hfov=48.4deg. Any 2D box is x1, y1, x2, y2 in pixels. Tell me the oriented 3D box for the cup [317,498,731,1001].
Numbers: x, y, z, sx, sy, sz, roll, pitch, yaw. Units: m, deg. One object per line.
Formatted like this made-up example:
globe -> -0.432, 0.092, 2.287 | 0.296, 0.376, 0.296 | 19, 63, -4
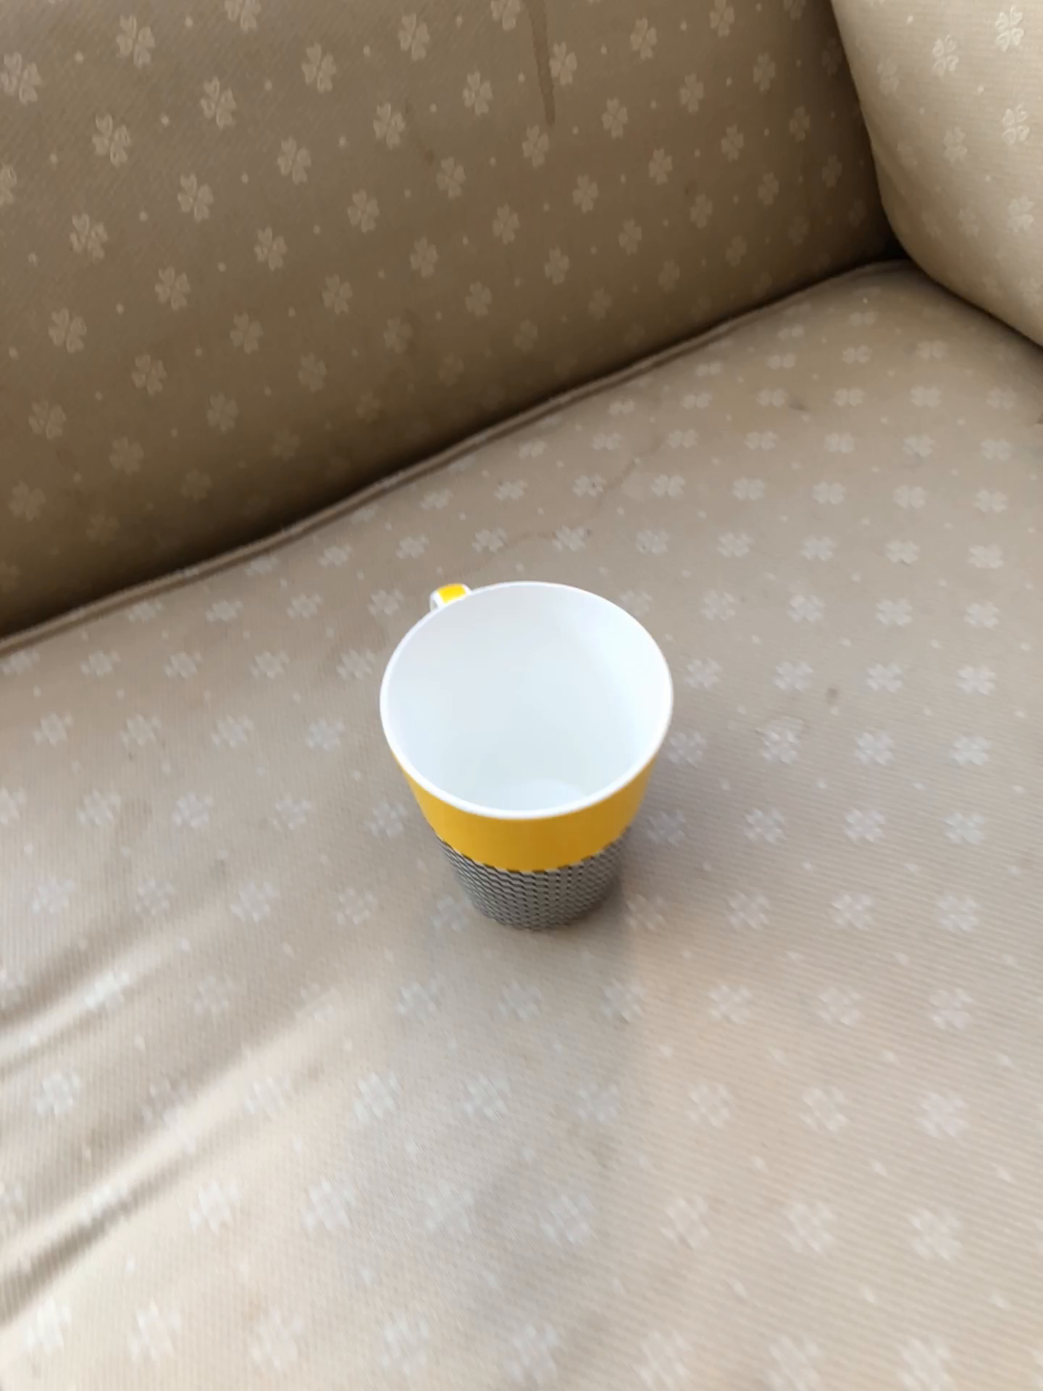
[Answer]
cup -> -0.001, 0.017, 0.378 | 0.087, 0.090, 0.112 | -19, 56, -10
